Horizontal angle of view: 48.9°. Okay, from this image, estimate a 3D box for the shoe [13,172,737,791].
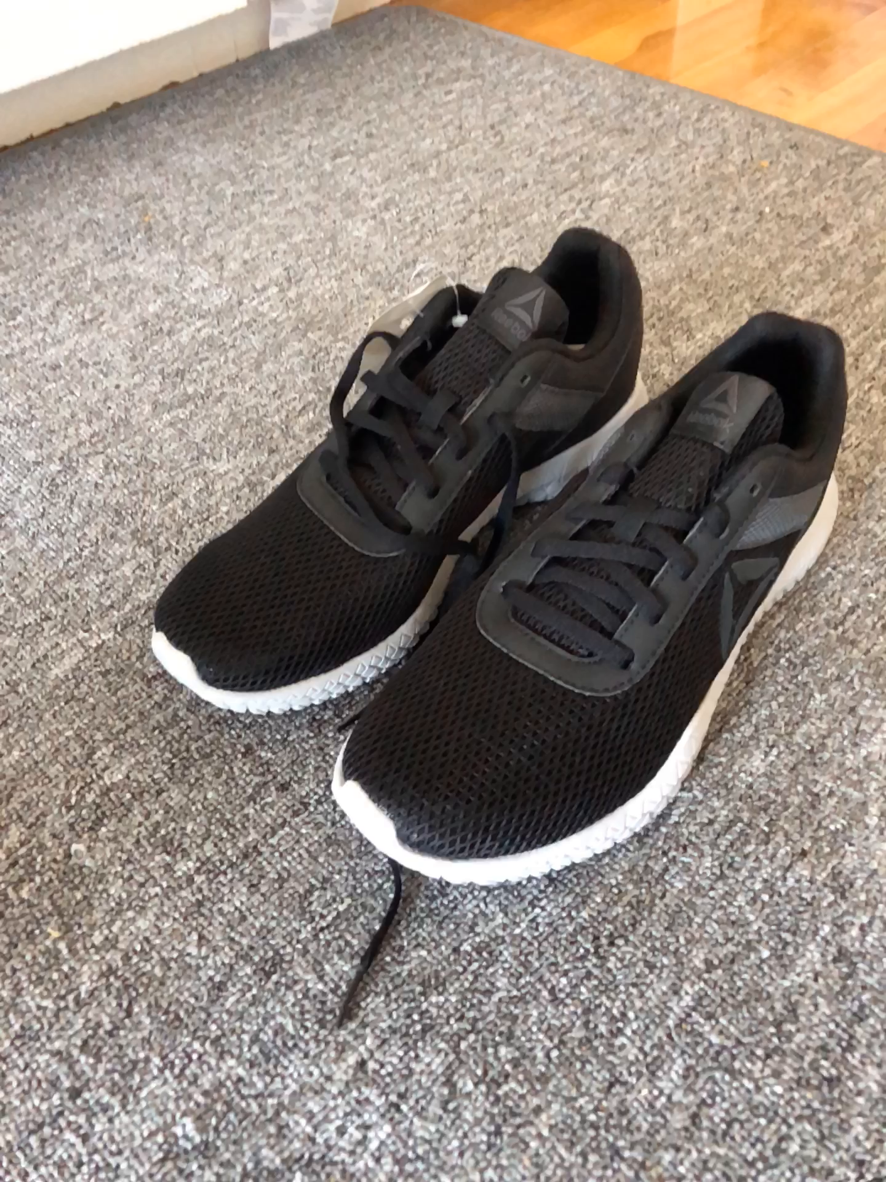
[{"bbox_3d":[-0.010,-0.069,0.436,0.117,0.099,0.301,34,57,28],"label":"shoe"}]

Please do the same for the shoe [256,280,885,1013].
[{"bbox_3d":[0.082,-0.001,0.396,0.111,0.099,0.301,33,57,27],"label":"shoe"}]
